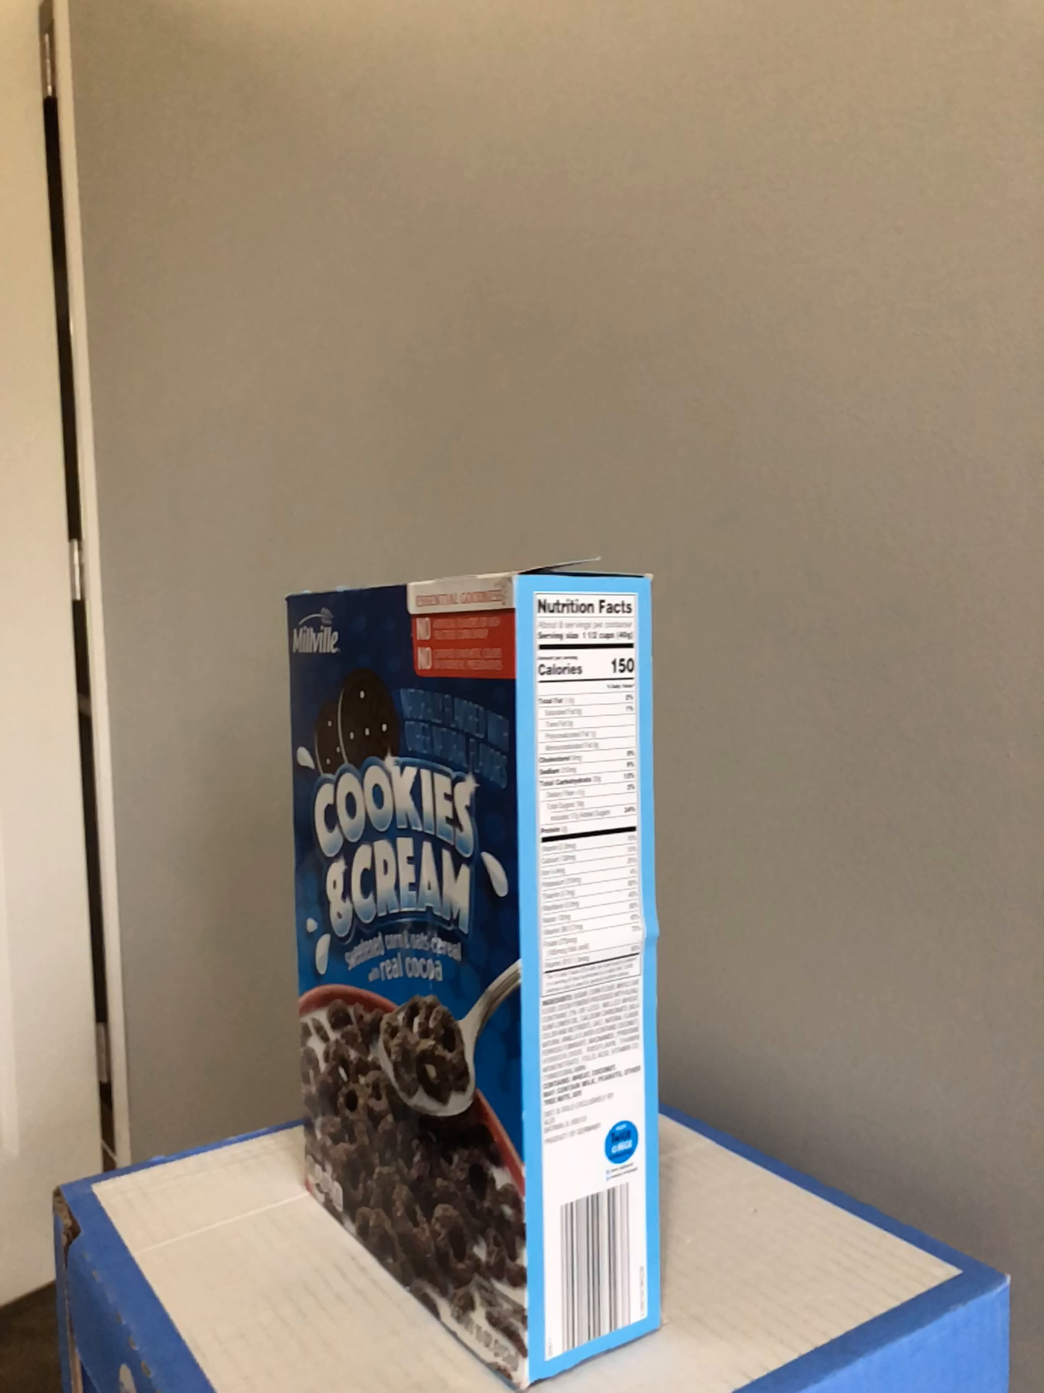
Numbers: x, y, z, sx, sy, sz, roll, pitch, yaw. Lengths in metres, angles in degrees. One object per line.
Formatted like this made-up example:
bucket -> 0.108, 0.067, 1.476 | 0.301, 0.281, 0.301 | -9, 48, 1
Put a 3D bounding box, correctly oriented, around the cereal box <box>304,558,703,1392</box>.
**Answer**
cereal box -> -0.018, 0.104, 0.501 | 0.070, 0.310, 0.200 | -2, 2, -34
